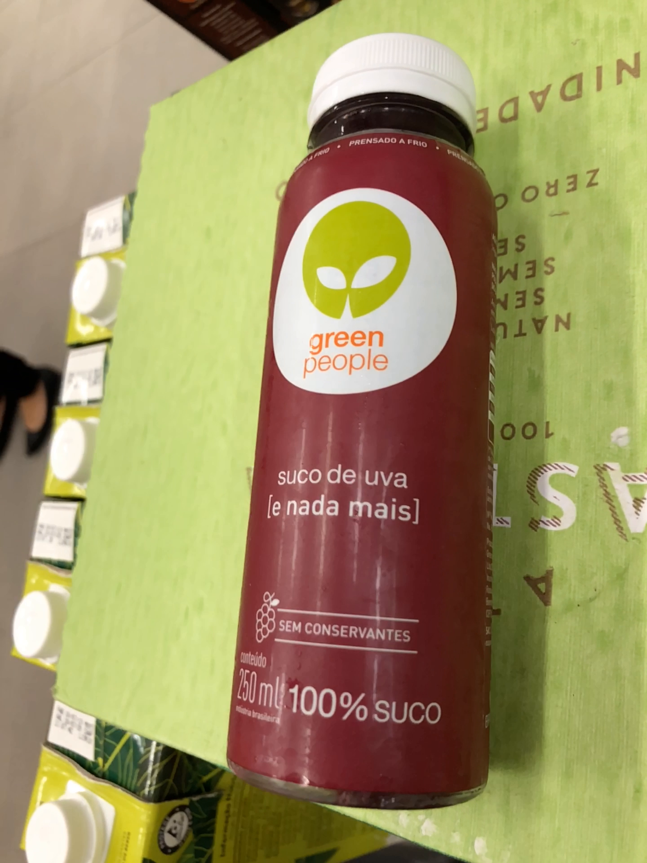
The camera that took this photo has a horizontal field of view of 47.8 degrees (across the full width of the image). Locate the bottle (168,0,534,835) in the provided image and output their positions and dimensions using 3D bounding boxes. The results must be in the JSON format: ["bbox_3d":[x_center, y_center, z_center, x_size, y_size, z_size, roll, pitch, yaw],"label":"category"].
[{"bbox_3d":[0.015,-0.015,0.167,0.060,0.060,0.170,0,78,17],"label":"bottle"}]
